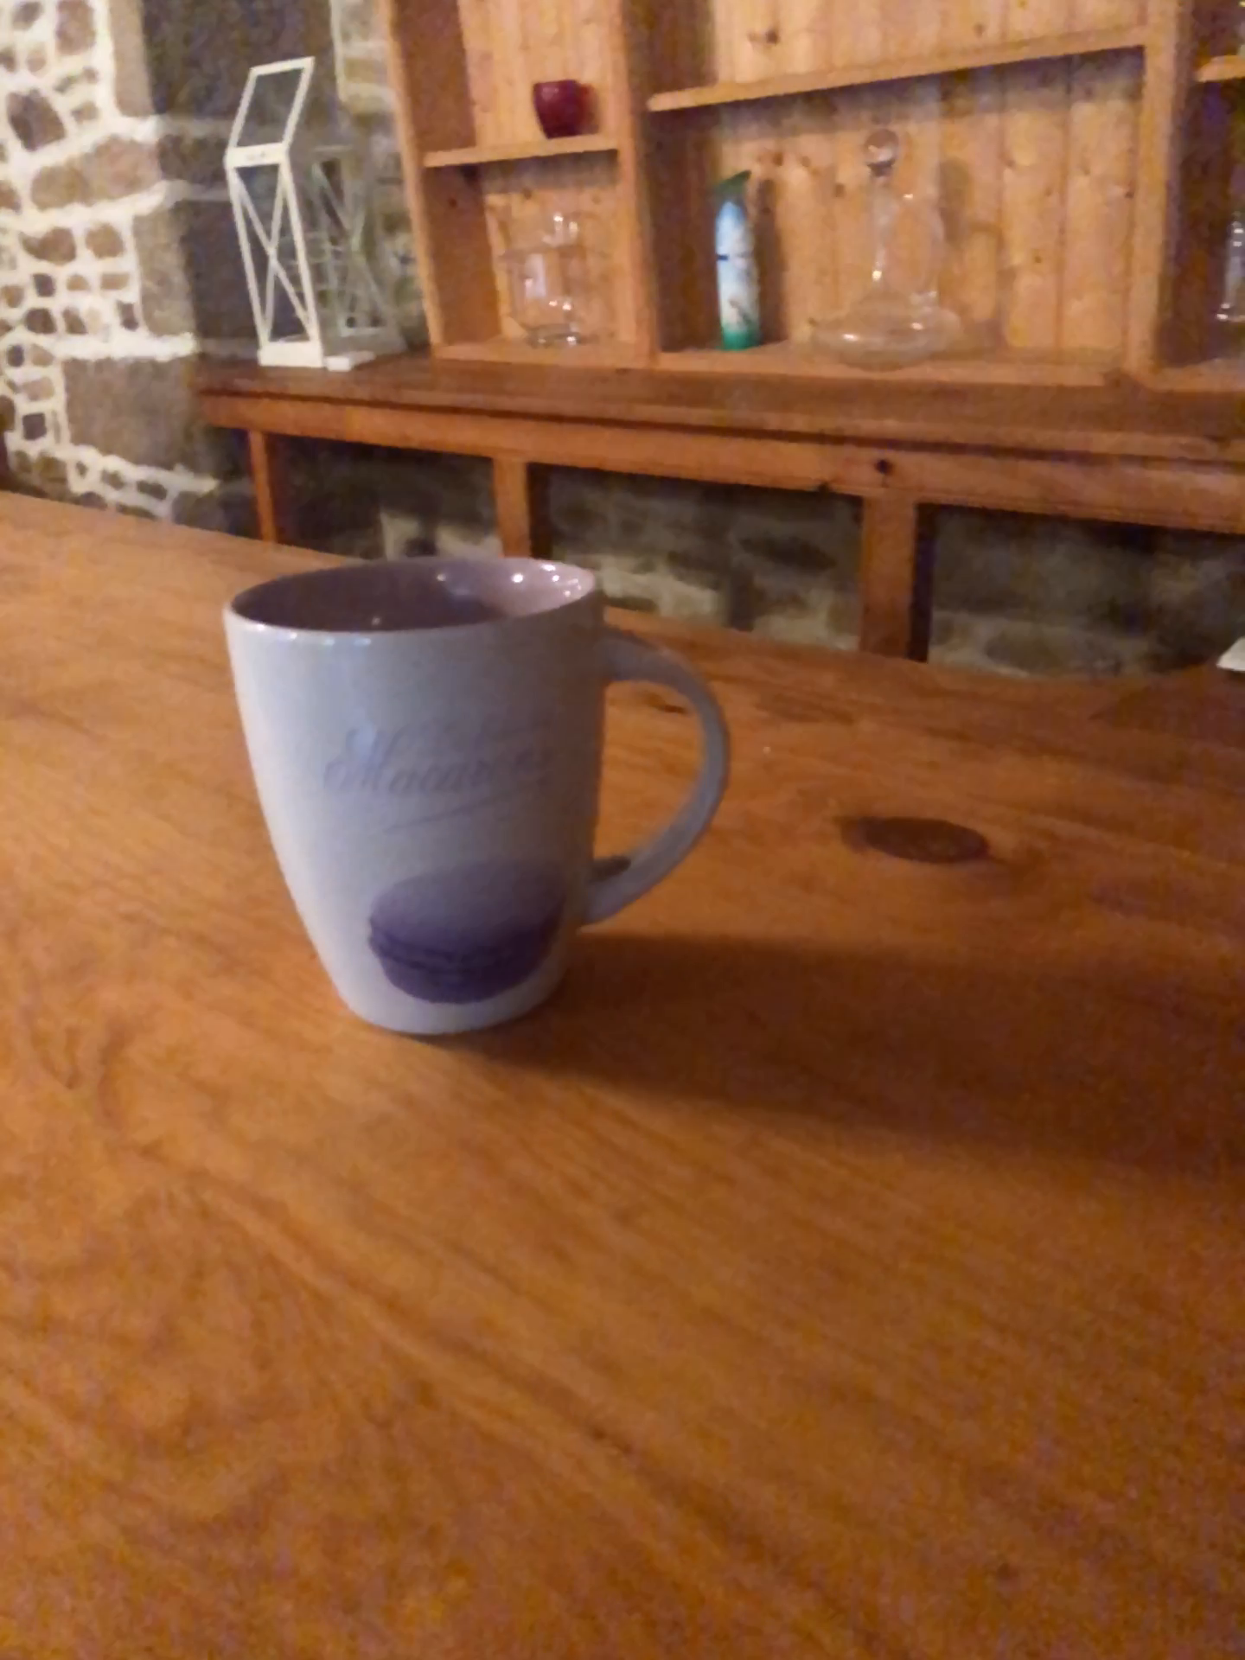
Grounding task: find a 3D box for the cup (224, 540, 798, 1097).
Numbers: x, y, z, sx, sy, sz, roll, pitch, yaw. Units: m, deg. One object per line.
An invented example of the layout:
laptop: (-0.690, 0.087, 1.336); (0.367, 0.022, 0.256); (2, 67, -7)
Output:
cup: (-0.031, -0.011, 0.342); (0.120, 0.095, 0.101); (-8, 23, -13)
